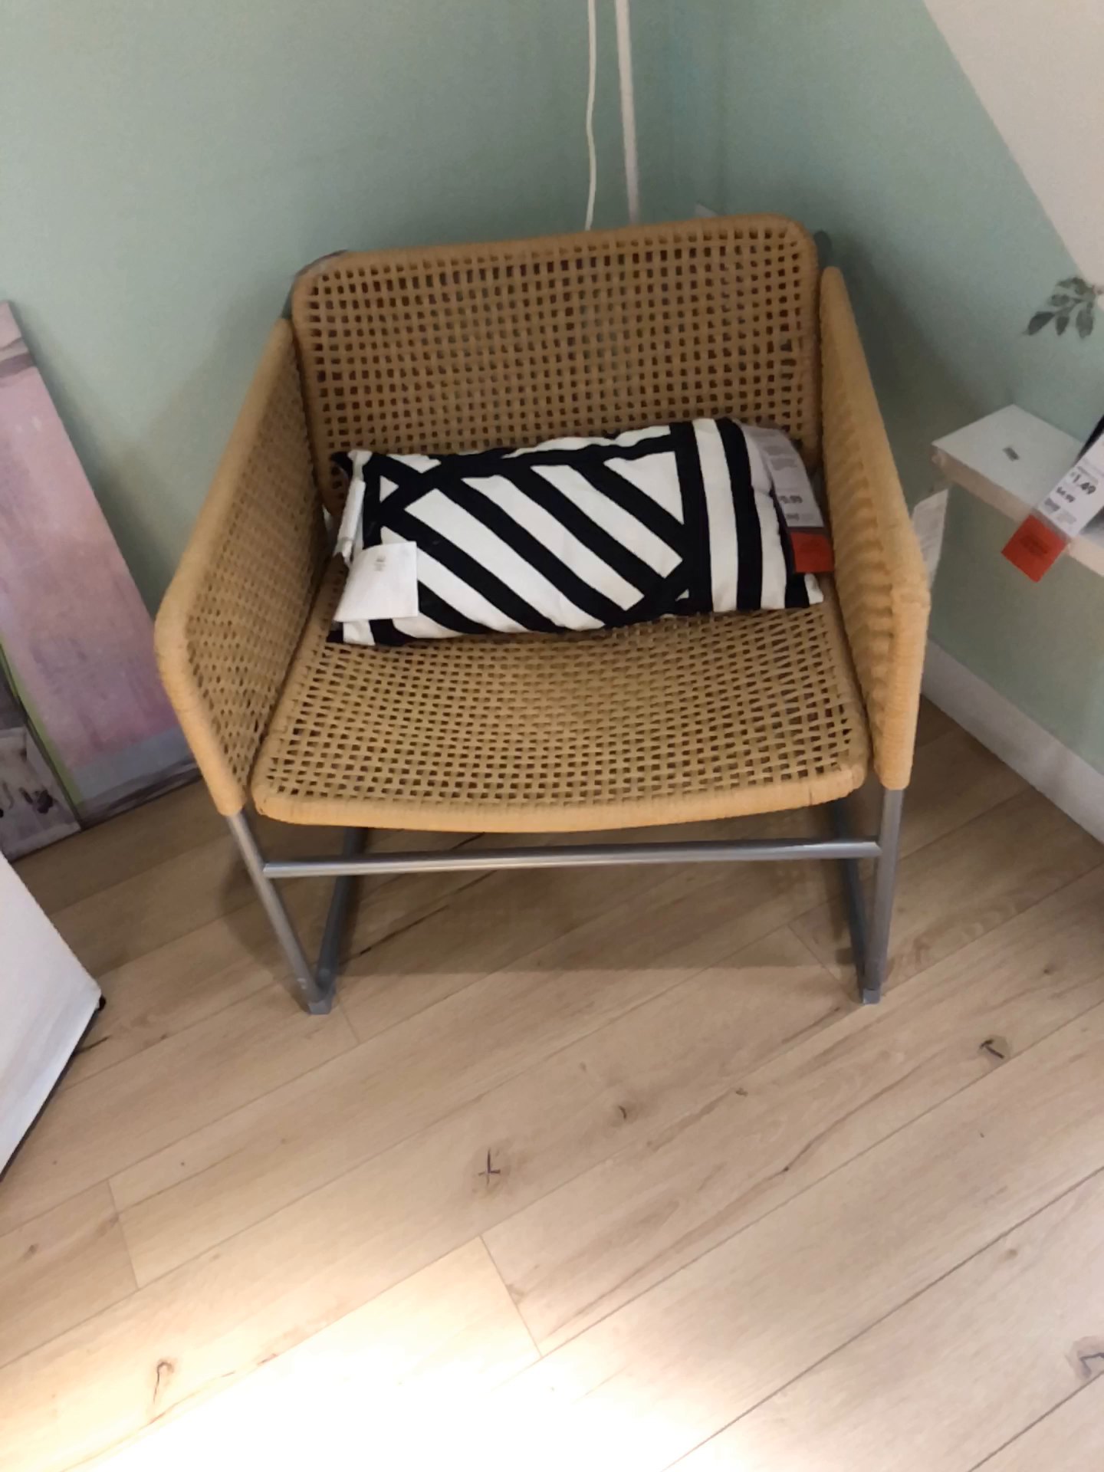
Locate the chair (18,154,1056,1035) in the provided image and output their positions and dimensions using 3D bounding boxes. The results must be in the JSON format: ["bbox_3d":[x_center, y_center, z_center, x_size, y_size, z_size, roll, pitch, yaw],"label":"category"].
[{"bbox_3d":[0.022,-0.164,1.396,0.790,0.628,0.753,-3,45,6],"label":"chair"}]
